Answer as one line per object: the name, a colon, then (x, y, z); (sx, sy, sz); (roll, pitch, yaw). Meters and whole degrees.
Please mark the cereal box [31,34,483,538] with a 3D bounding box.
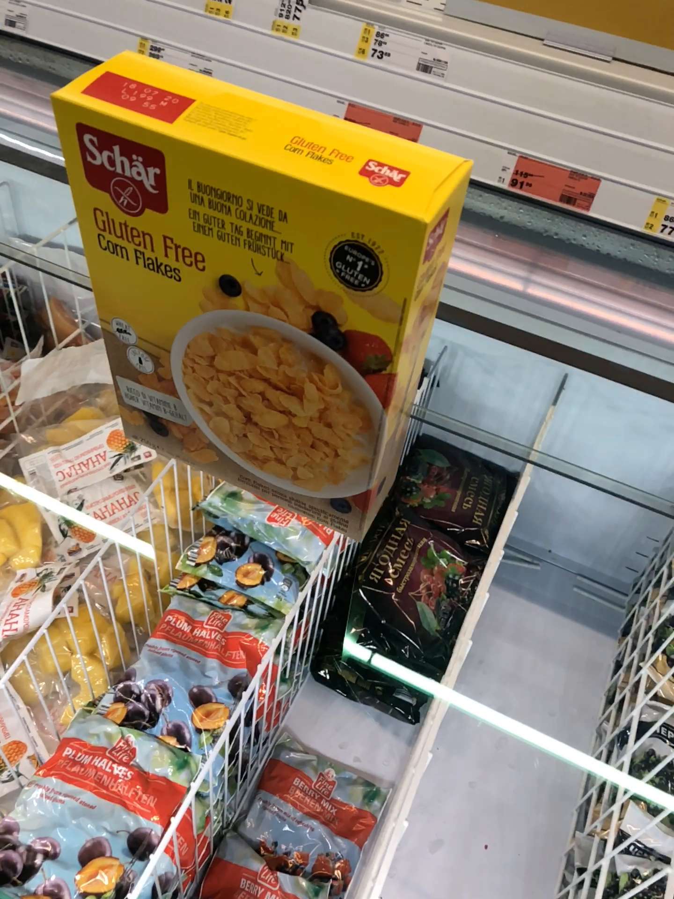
cereal box: (-0.048, -0.077, 0.427); (0.200, 0.238, 0.060); (23, 51, 12)
